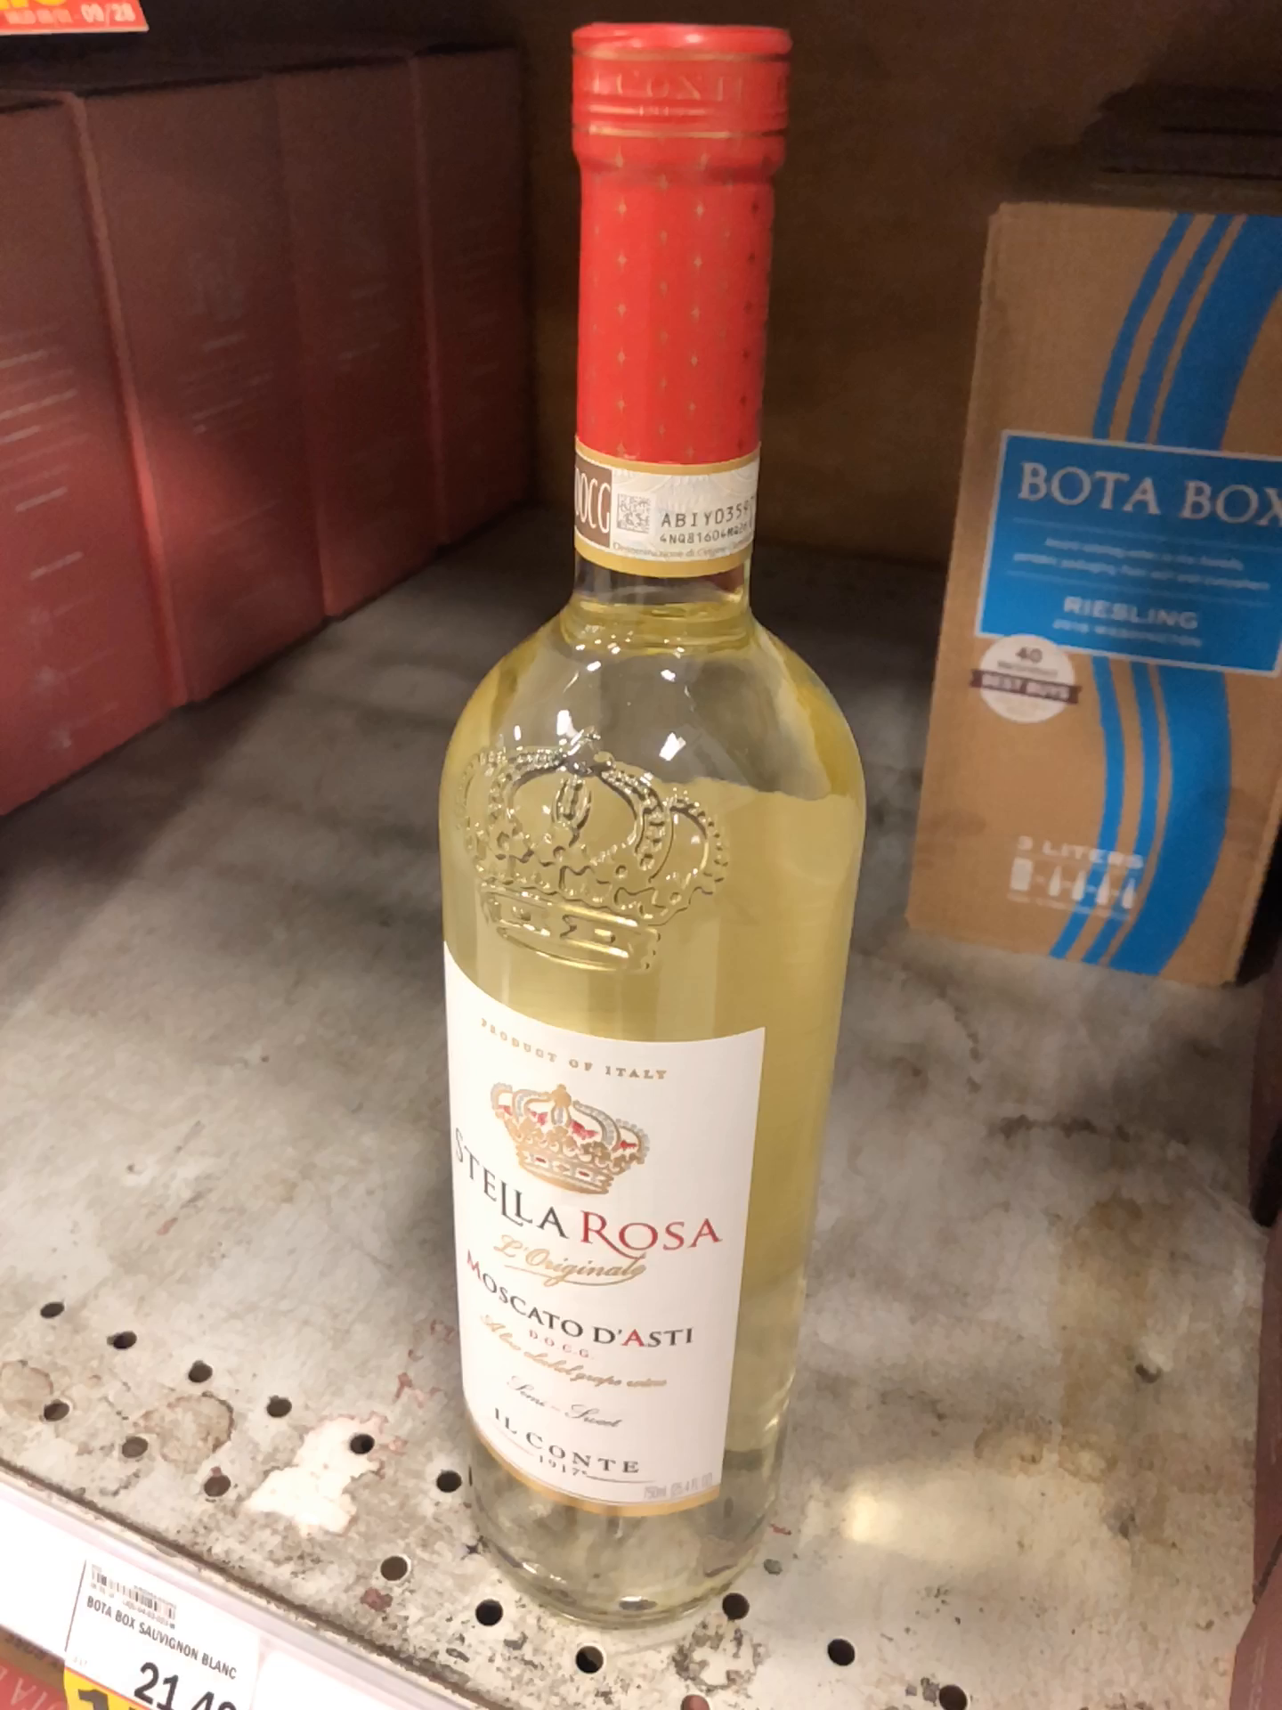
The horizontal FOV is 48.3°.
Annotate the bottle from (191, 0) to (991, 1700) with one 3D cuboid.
[{"bbox_3d":[-0.002,0.028,0.267,0.080,0.319,0.070,11,35,16],"label":"bottle"}]
